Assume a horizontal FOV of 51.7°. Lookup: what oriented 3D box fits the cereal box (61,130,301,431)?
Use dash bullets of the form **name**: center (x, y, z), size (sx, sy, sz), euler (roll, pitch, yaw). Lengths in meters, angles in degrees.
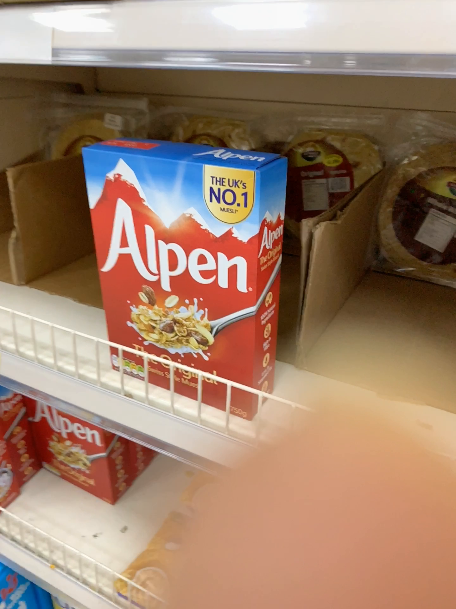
- **cereal box**: center (-0.044, -0.027, 0.443), size (0.190, 0.238, 0.070), euler (14, 29, 24)
